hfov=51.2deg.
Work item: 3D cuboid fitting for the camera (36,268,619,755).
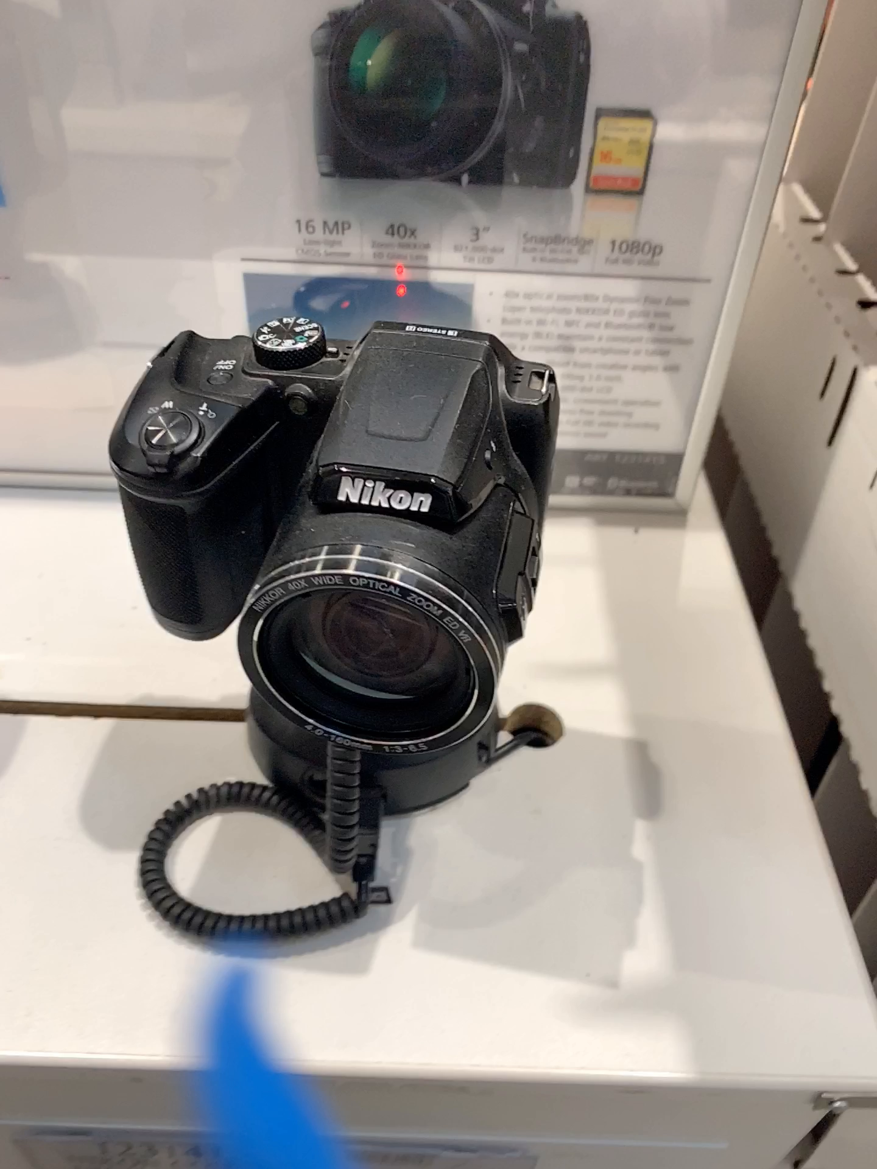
[{"bbox_3d":[-0.020,-0.017,0.223,0.110,0.089,0.061,6,42,3],"label":"camera"}]
